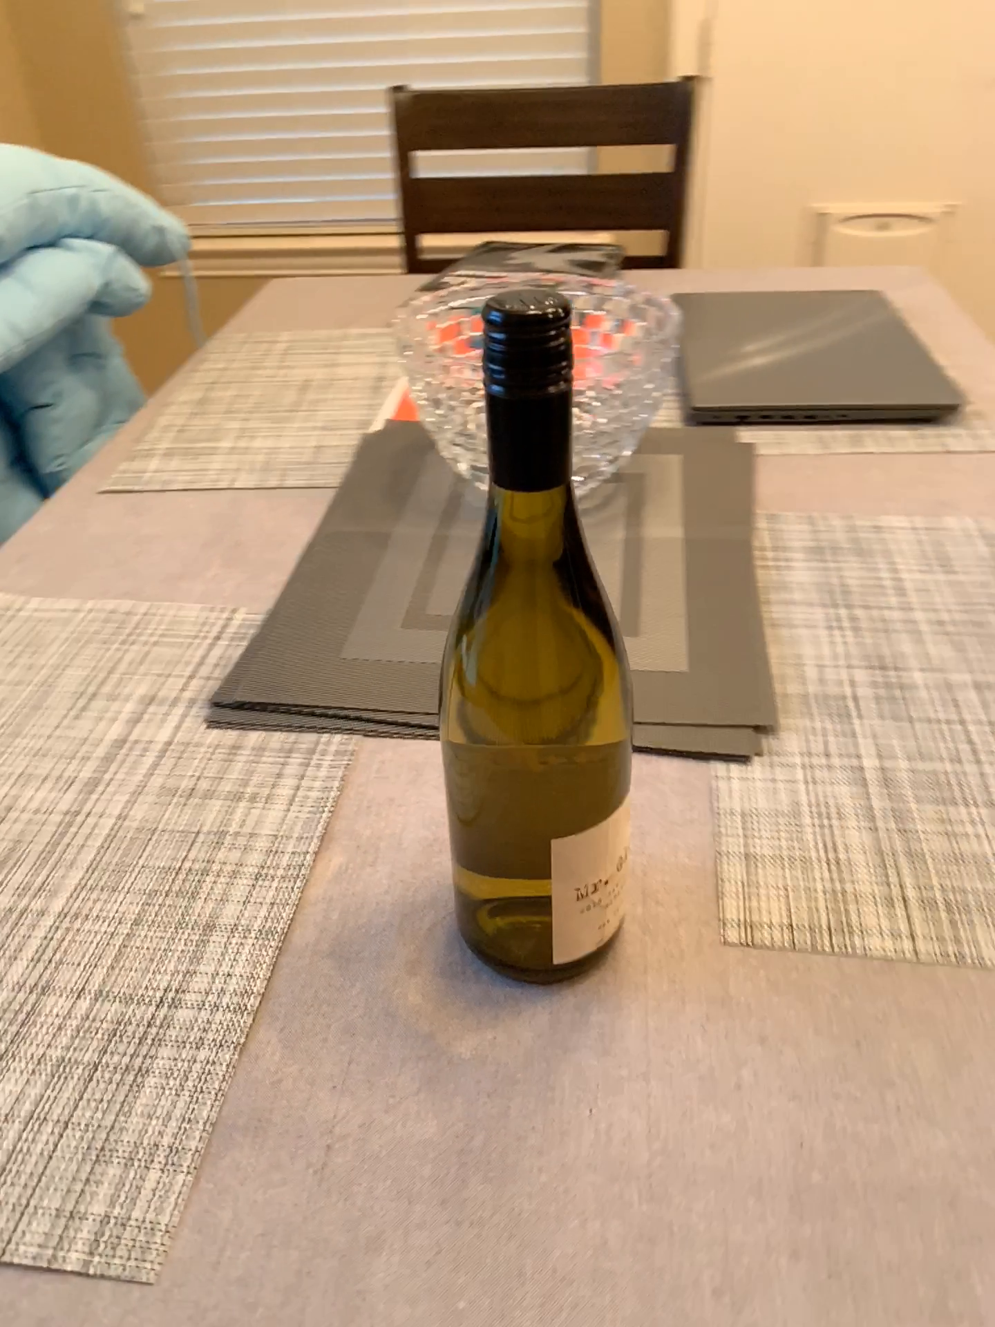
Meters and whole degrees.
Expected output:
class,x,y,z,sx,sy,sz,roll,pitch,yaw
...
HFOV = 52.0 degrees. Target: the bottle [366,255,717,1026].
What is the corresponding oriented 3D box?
class,x,y,z,sx,sy,sz,roll,pitch,yaw
bottle,0.023,0.006,0.409,0.090,0.298,0.090,-2,35,1
